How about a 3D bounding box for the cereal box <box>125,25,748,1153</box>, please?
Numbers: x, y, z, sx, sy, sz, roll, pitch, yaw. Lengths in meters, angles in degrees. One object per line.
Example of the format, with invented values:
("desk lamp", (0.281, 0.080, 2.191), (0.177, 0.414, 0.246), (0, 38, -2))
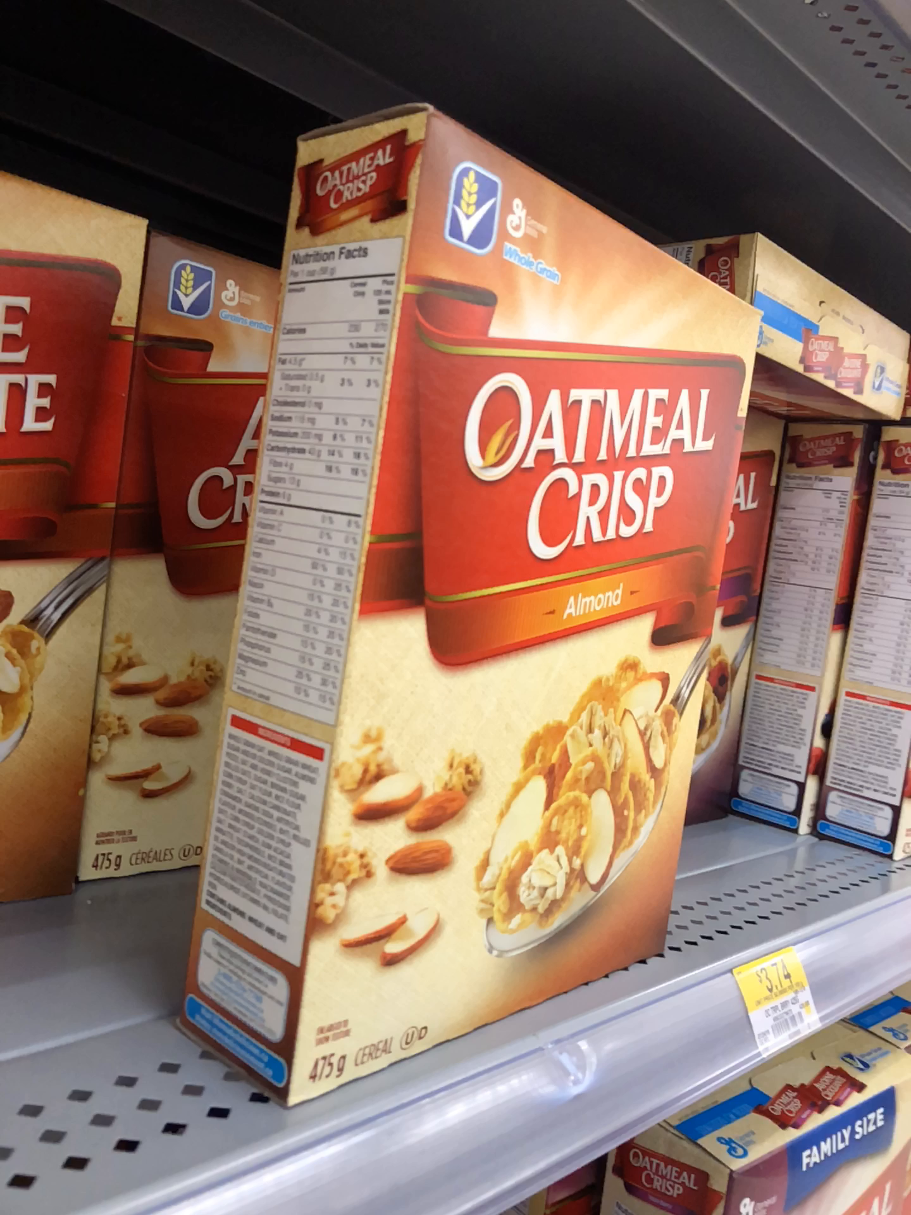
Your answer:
("cereal box", (0.012, 0.000, 0.342), (0.050, 0.280, 0.210), (10, 3, 40))
